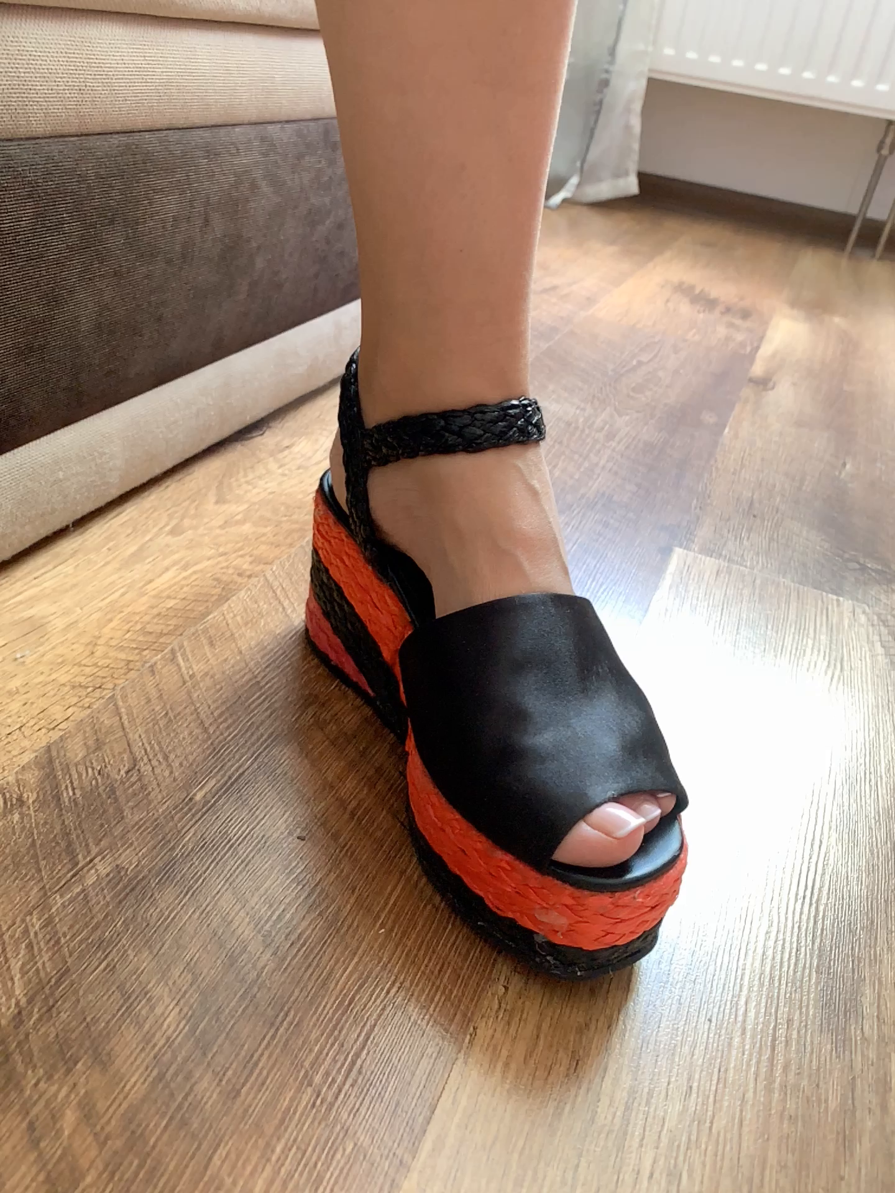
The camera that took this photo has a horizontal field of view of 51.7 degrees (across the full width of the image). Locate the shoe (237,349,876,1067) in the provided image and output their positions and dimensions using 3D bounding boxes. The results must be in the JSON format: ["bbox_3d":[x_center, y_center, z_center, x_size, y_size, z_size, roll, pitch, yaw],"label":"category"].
[{"bbox_3d":[0.006,0.011,0.336,0.089,0.124,0.241,-9,36,-28],"label":"shoe"}]
